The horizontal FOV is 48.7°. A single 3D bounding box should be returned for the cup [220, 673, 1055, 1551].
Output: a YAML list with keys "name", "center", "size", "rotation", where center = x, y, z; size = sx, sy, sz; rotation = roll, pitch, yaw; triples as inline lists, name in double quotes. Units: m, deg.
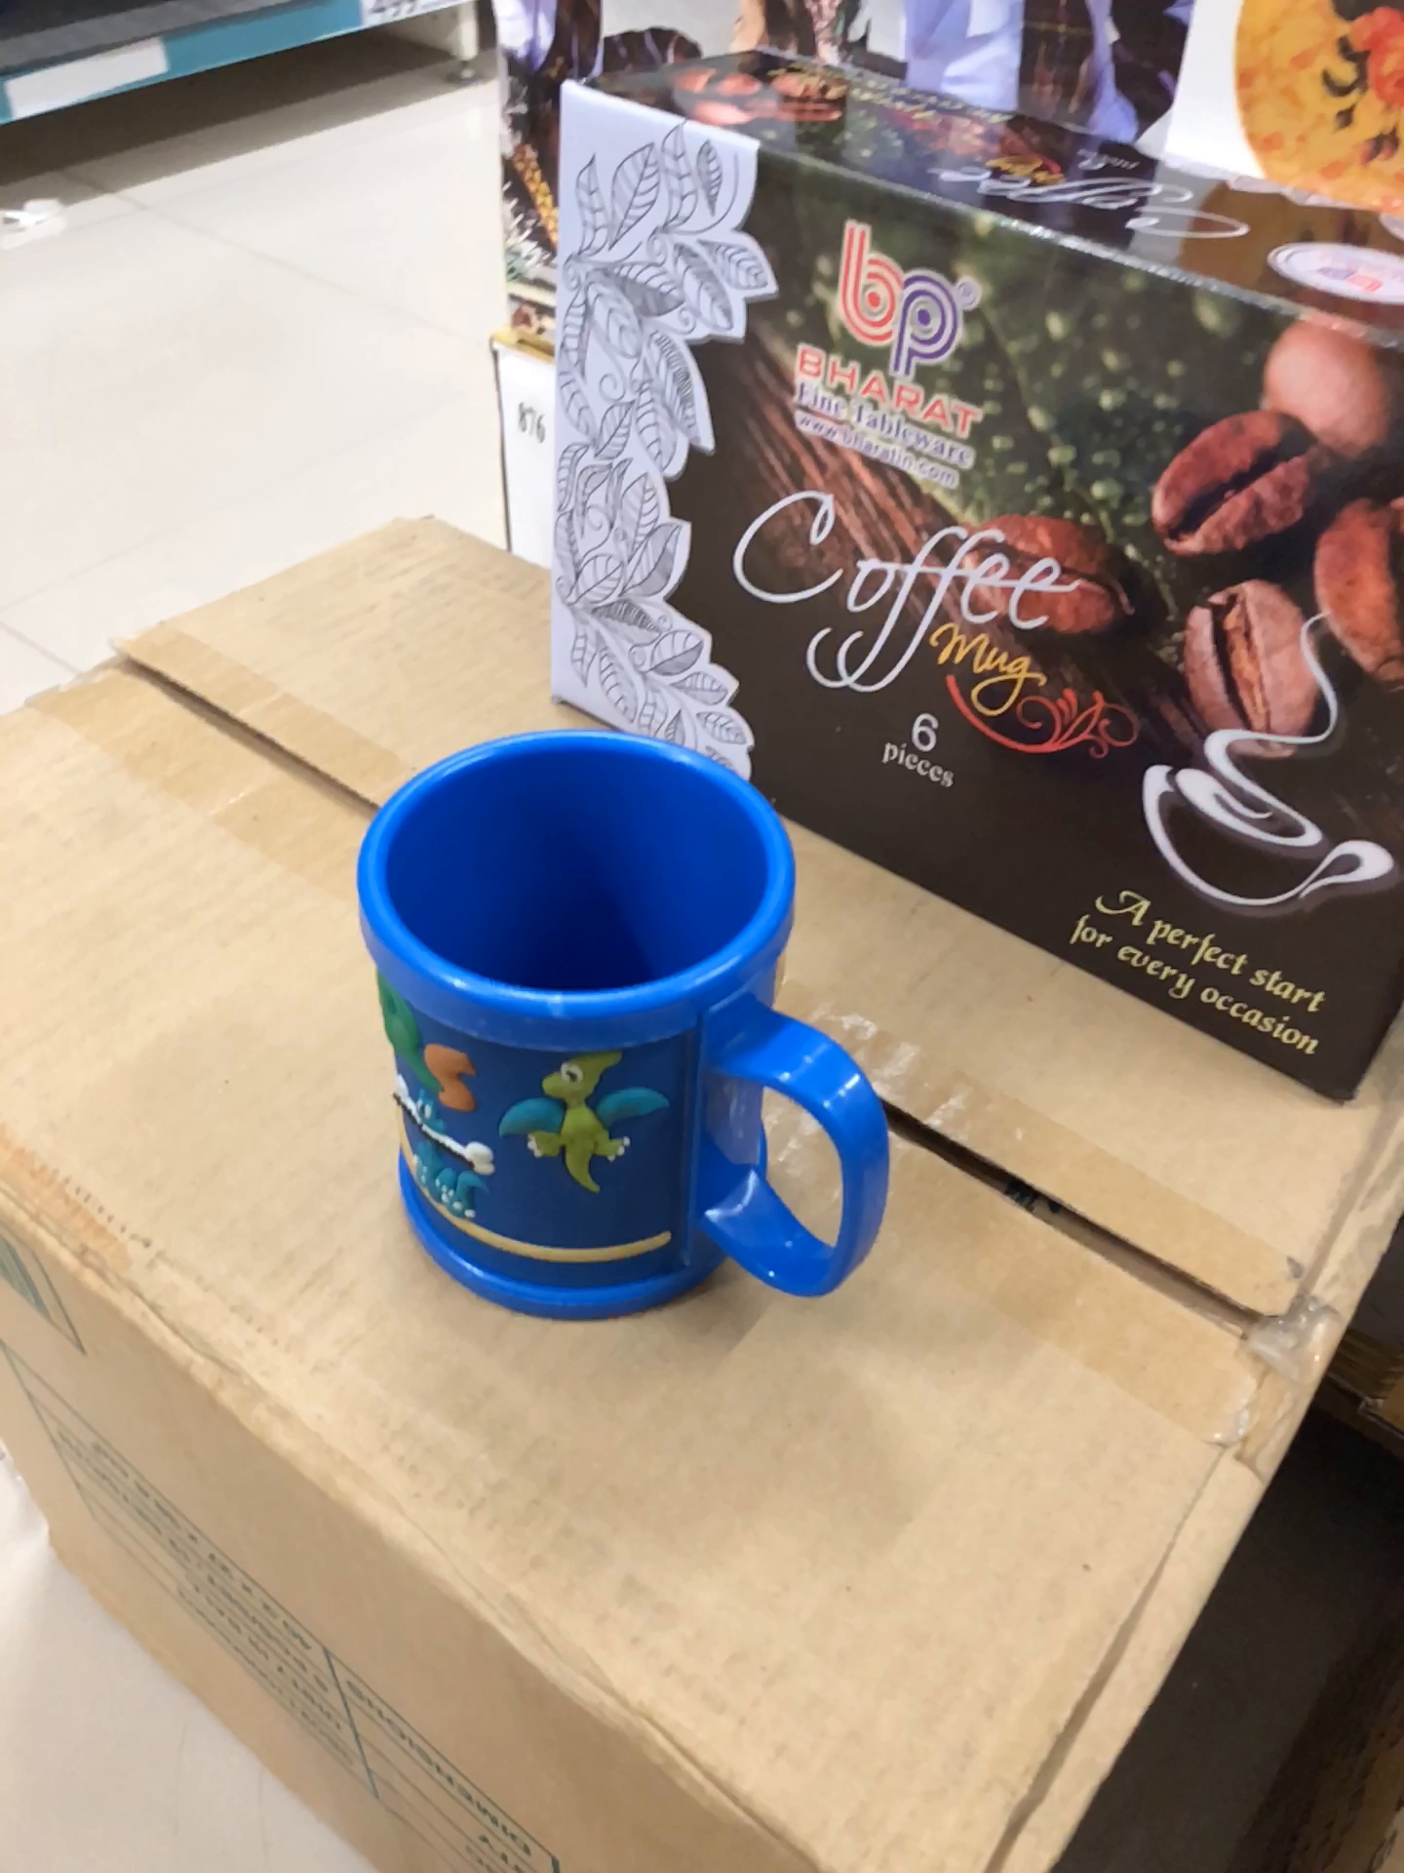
- name: "cup"
  center: [-0.014, 0.028, 0.307]
  size: [0.120, 0.089, 0.090]
  rotation: [34, 52, 29]
